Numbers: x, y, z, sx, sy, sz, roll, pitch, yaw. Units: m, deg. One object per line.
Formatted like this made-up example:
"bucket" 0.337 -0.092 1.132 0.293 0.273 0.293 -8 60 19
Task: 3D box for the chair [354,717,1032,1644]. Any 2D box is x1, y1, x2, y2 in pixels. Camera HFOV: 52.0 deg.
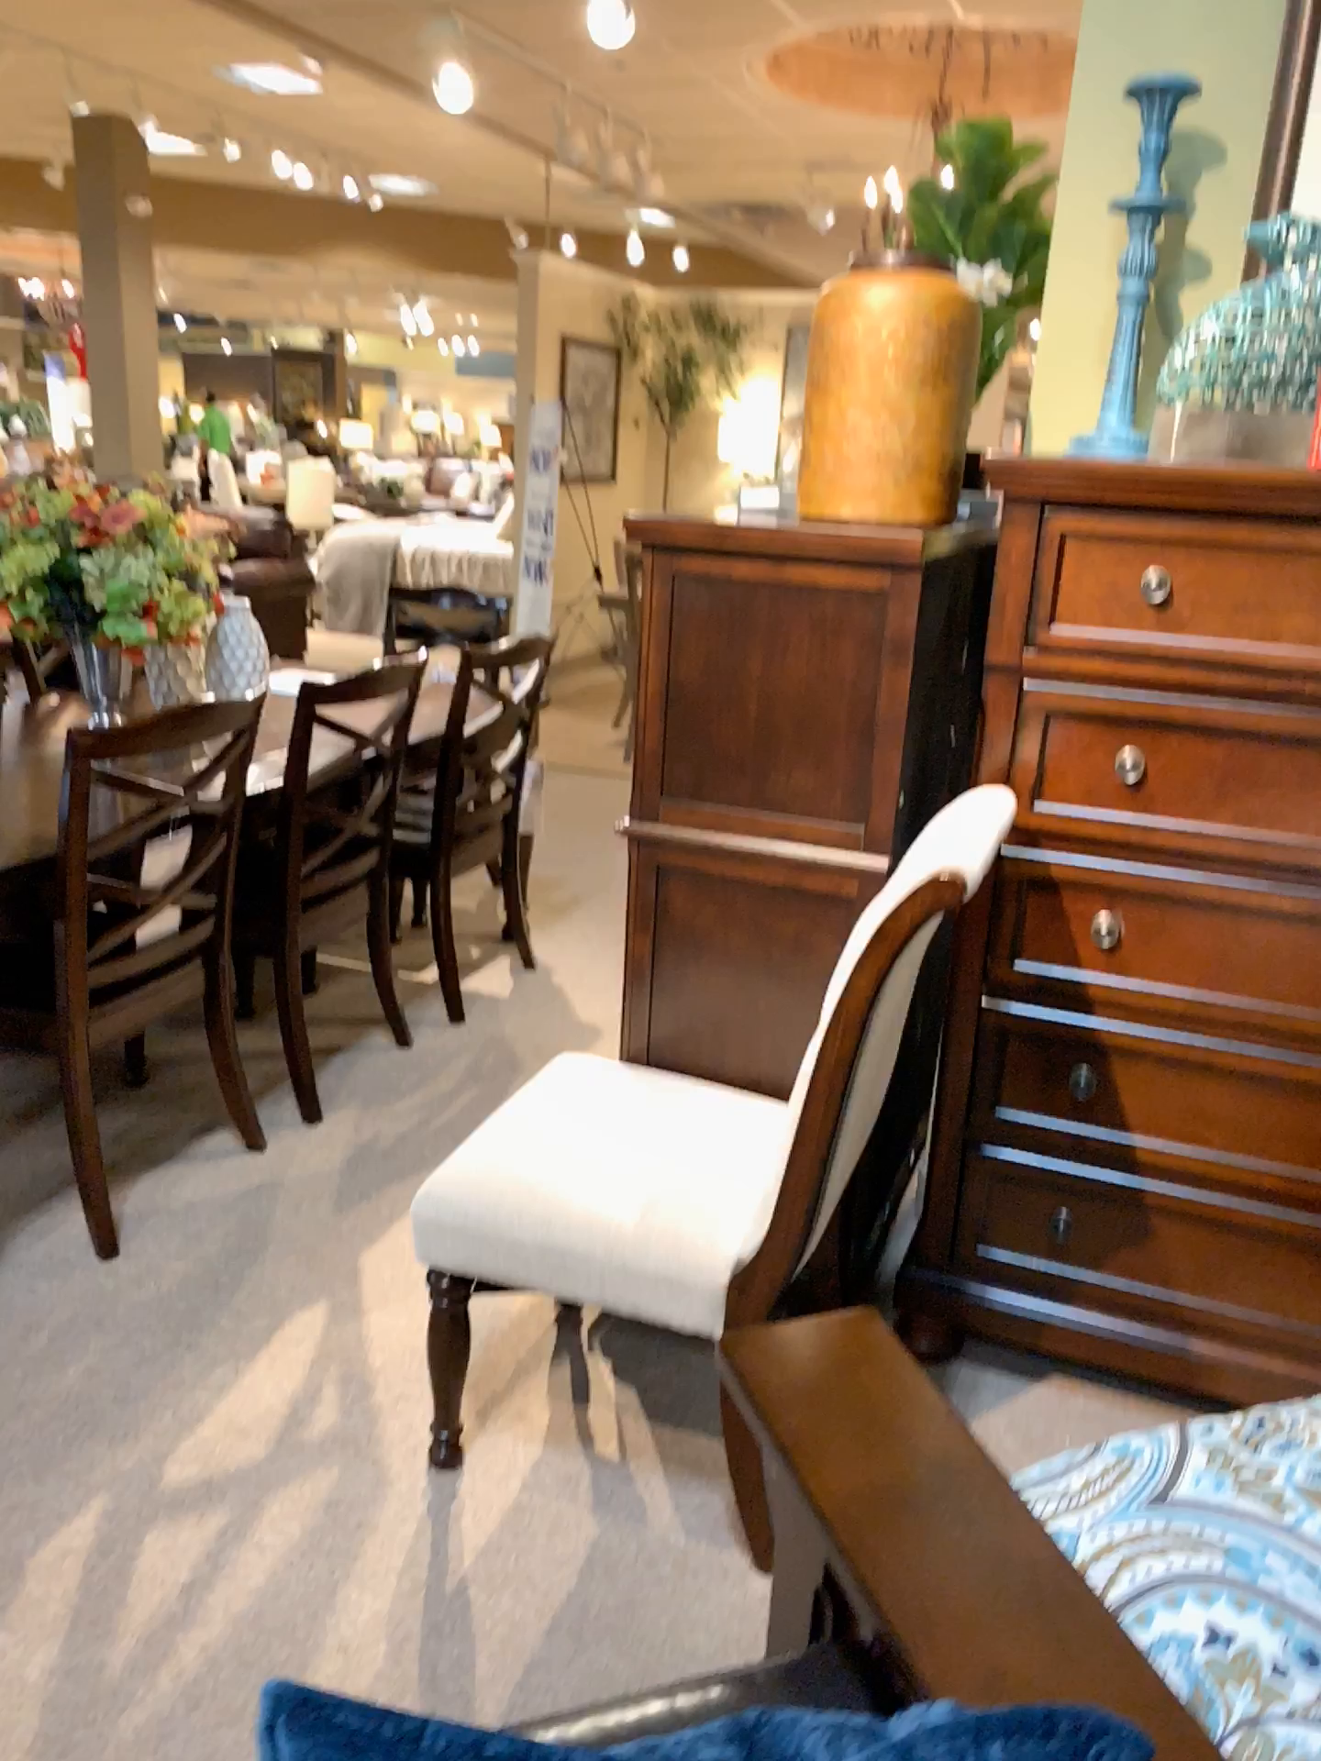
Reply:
"chair" 0.049 0.335 1.875 0.718 0.950 0.585 10 19 19
